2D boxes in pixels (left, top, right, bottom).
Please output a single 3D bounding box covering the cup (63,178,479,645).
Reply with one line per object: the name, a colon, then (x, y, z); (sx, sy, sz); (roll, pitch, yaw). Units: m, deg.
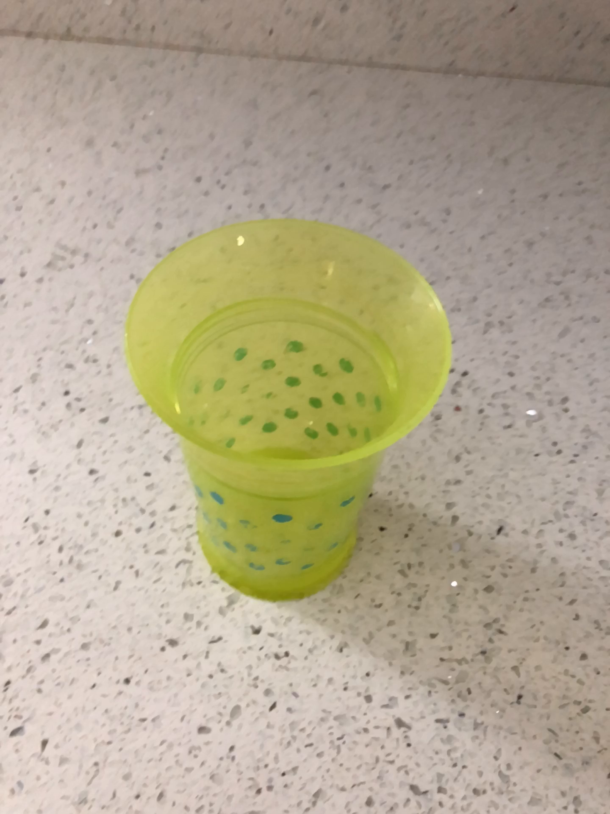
cup: (-0.008, 0.007, 0.212); (0.078, 0.109, 0.073); (2, 54, -2)
